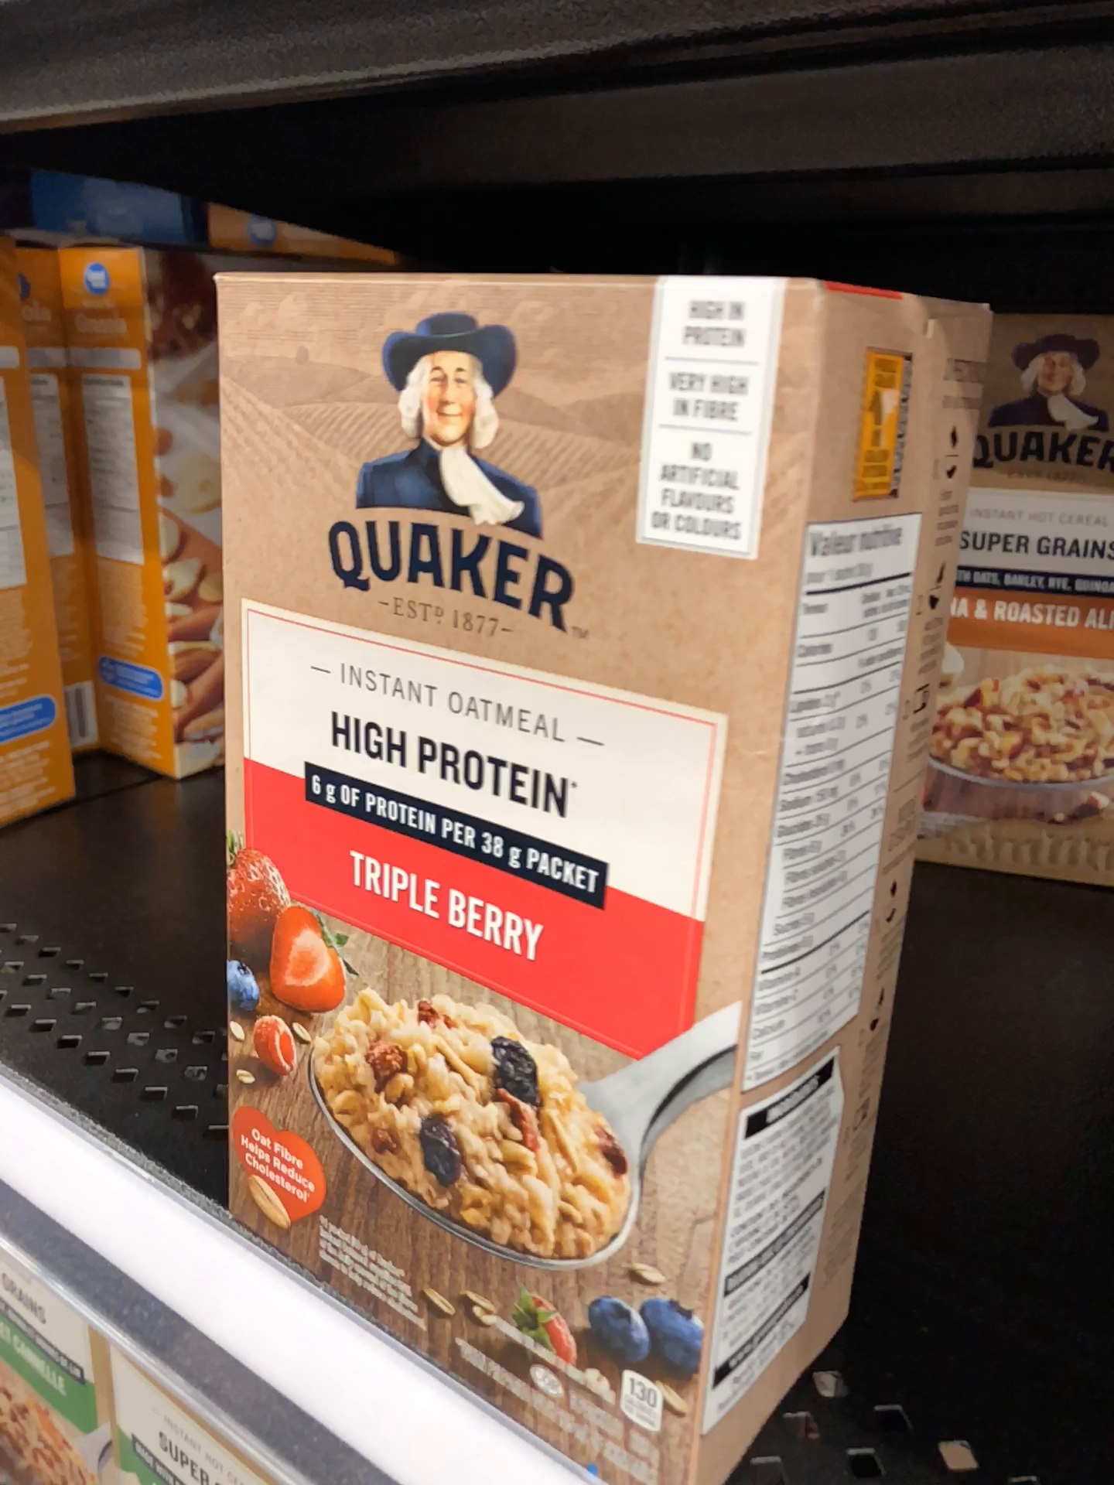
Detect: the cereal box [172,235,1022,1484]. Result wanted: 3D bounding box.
[{"bbox_3d":[-0.003,0.014,0.240,0.130,0.199,0.070,15,19,35],"label":"cereal box"}]
